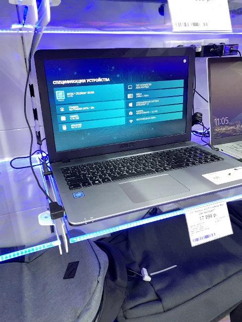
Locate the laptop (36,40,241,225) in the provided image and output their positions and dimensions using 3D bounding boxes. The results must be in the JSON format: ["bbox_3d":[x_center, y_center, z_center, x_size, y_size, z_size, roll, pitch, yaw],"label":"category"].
[{"bbox_3d":[0.054,-0.094,0.481,0.372,0.232,0.263,-10,23,-19],"label":"laptop"}]
